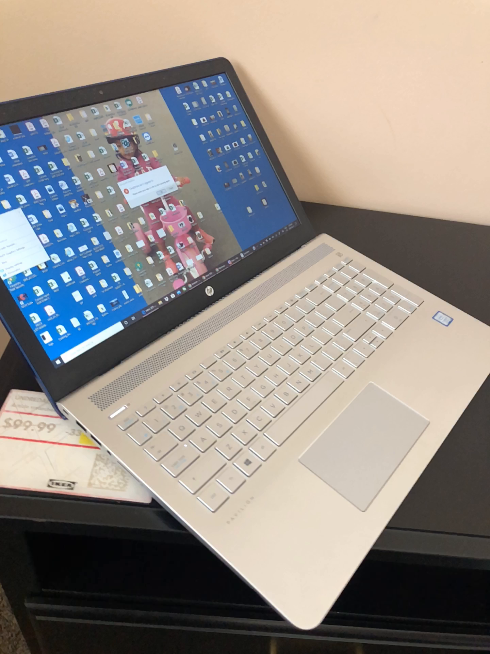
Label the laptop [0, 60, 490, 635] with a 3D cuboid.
[{"bbox_3d":[0.014,-0.061,0.464,0.401,0.141,0.367,35,47,22],"label":"laptop"}]
